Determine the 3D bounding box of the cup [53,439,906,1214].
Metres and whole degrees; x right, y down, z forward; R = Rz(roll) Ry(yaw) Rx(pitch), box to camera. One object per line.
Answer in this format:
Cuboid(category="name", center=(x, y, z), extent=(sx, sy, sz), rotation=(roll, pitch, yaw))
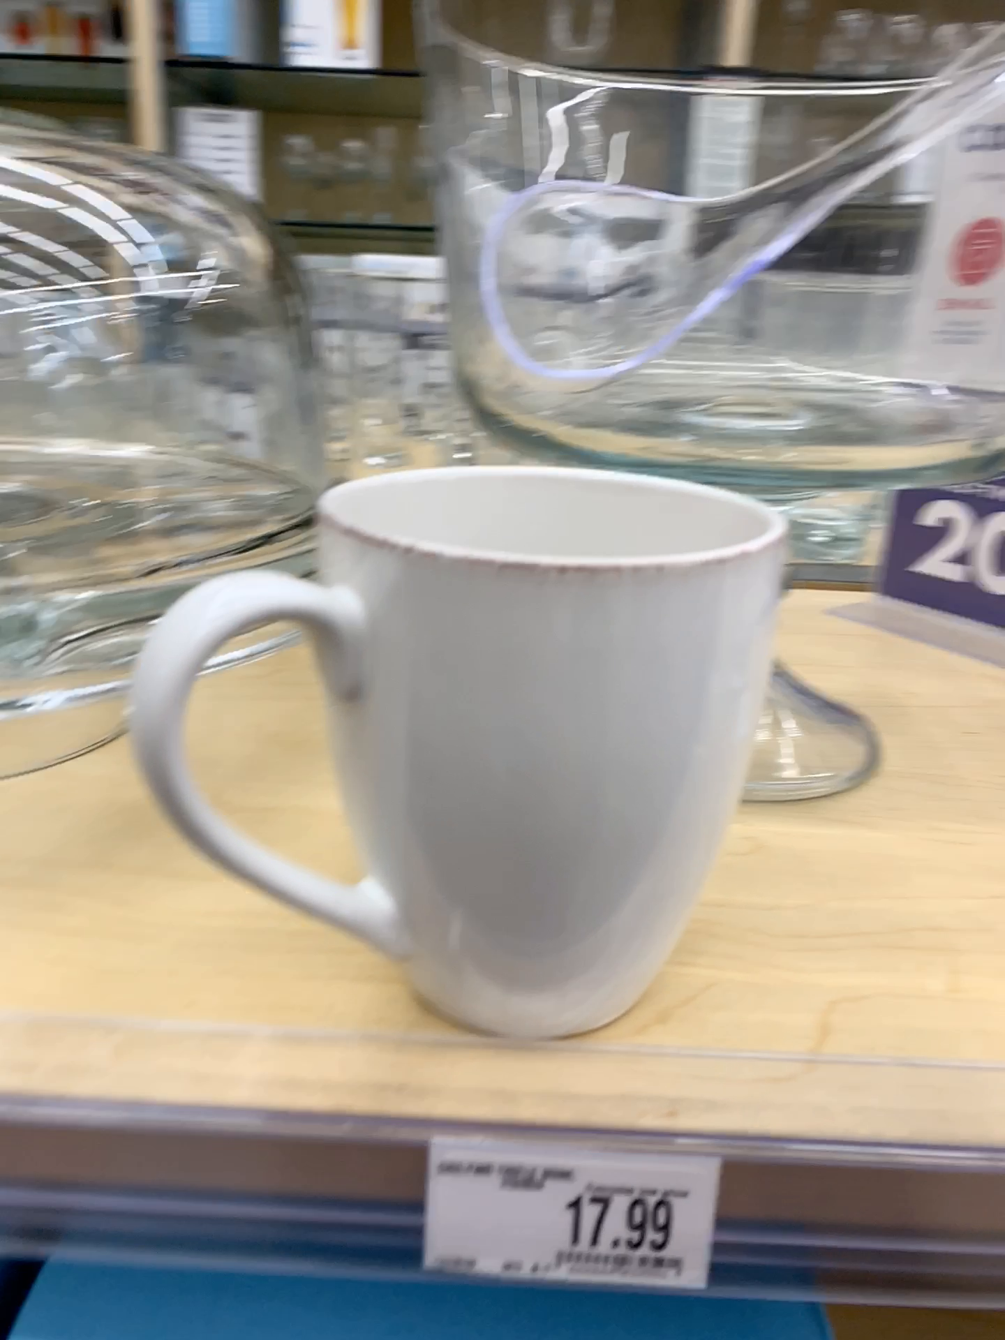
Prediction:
Cuboid(category="cup", center=(-0.007, 0.012, 0.213), extent=(0.130, 0.094, 0.096), rotation=(-12, 28, -35))
